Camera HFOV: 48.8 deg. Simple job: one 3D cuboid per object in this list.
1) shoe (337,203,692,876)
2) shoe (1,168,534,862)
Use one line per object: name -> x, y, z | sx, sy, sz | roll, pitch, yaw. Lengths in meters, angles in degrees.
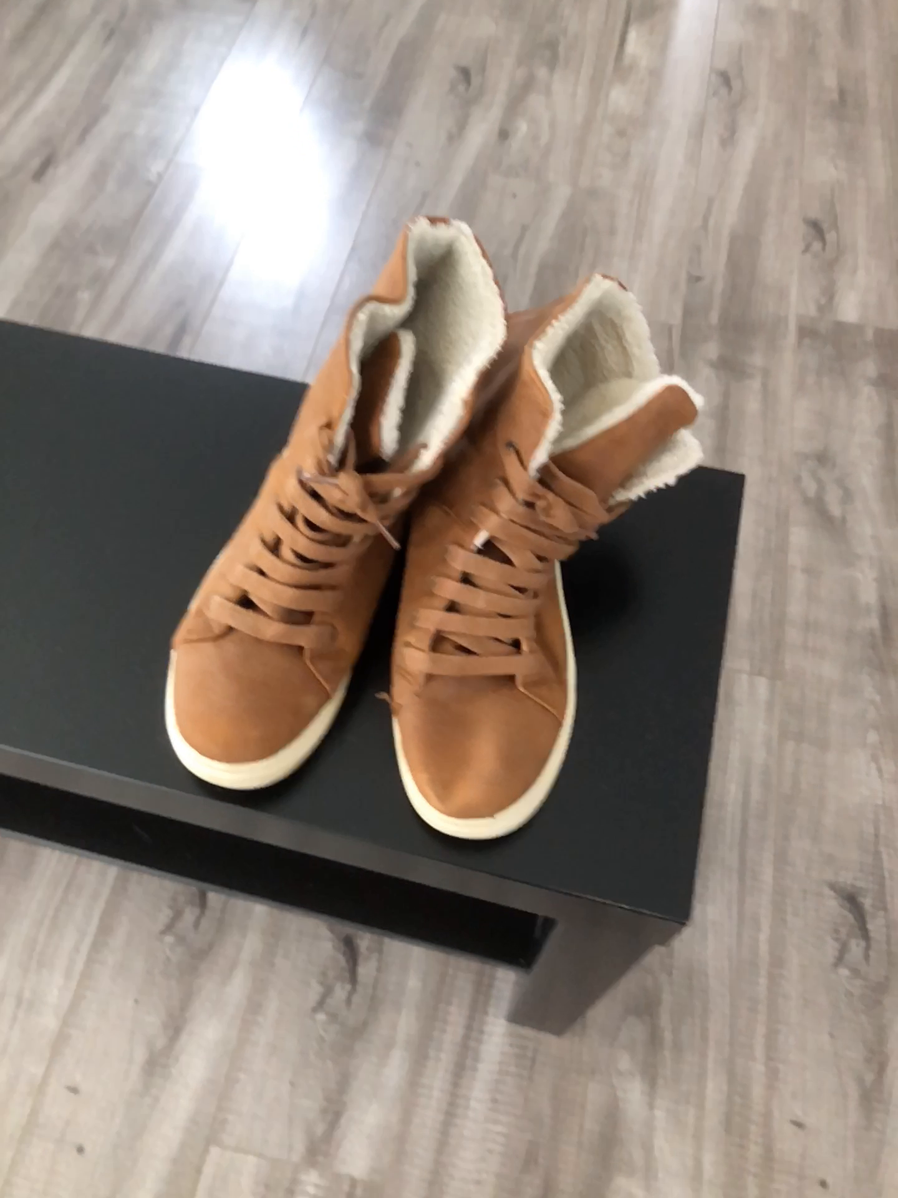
shoe -> 0.036, -0.030, 0.452 | 0.110, 0.140, 0.260 | 8, 60, 3
shoe -> -0.058, -0.041, 0.453 | 0.110, 0.150, 0.260 | 17, 60, 9
